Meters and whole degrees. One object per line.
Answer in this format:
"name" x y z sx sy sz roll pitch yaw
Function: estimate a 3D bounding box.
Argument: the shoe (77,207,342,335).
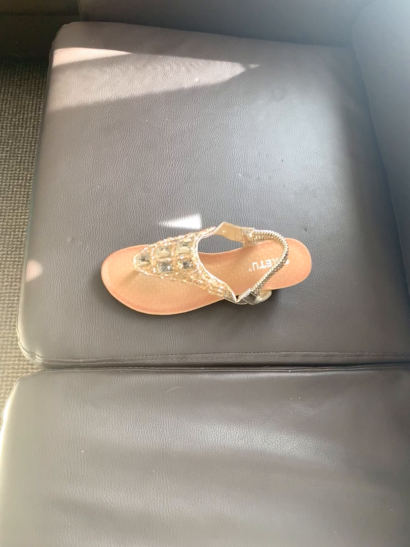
"shoe" 0.000 0.003 0.508 0.270 0.139 0.100 -3 71 -5
